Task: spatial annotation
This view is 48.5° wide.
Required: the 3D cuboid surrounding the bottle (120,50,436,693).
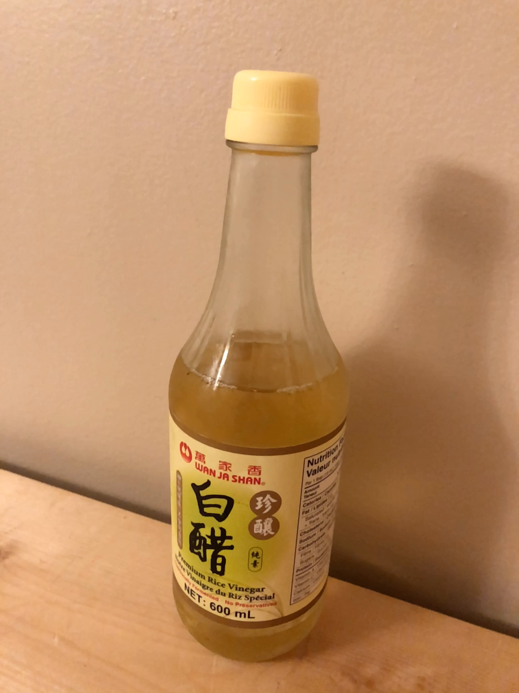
[{"bbox_3d":[0.006,0.016,0.237,0.080,0.239,0.080,2,23,-1],"label":"bottle"}]
